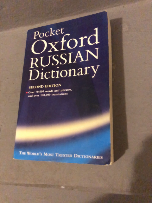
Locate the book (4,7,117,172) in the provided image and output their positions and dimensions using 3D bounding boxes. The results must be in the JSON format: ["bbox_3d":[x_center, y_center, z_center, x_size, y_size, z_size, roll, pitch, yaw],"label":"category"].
[{"bbox_3d":[-0.018,-0.017,0.228,0.137,0.032,0.195,-3,75,20],"label":"book"}]
